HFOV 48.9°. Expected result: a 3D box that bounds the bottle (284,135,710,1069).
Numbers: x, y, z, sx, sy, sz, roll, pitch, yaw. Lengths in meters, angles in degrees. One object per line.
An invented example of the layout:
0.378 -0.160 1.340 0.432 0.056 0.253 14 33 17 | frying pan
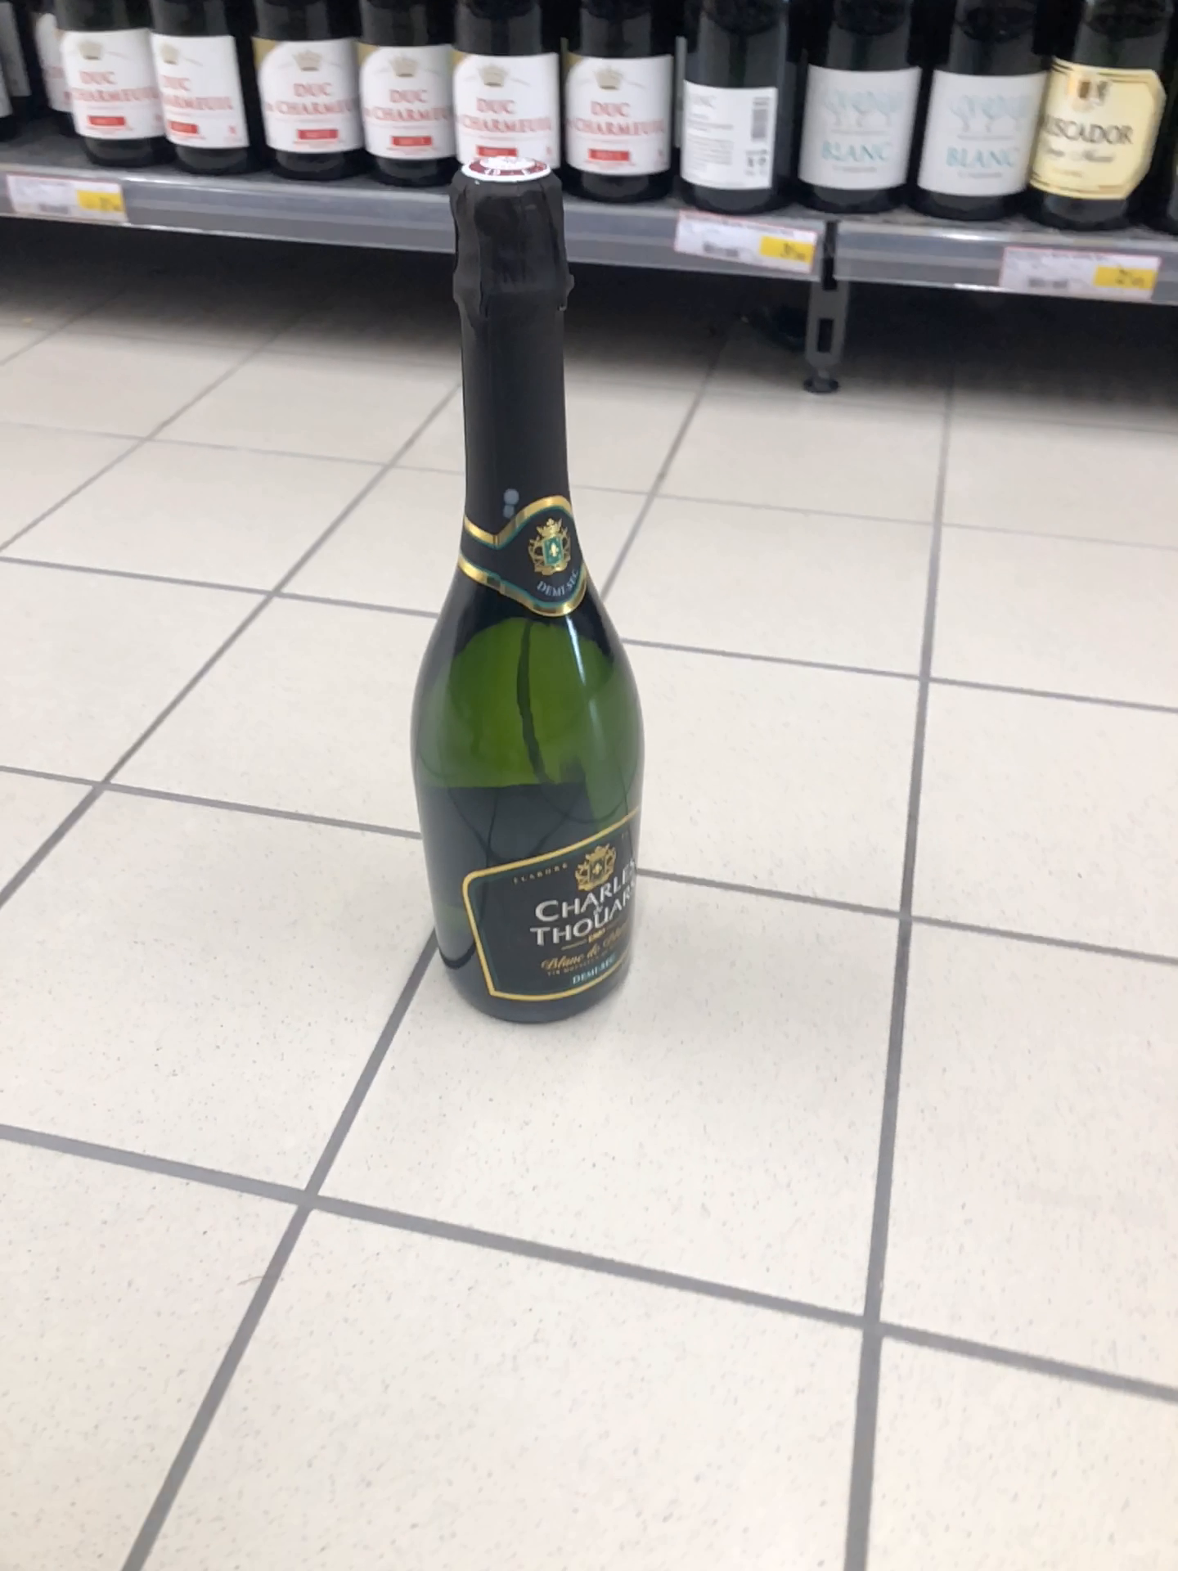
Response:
-0.028 -0.051 0.464 0.090 0.308 0.090 0 36 0 | bottle
